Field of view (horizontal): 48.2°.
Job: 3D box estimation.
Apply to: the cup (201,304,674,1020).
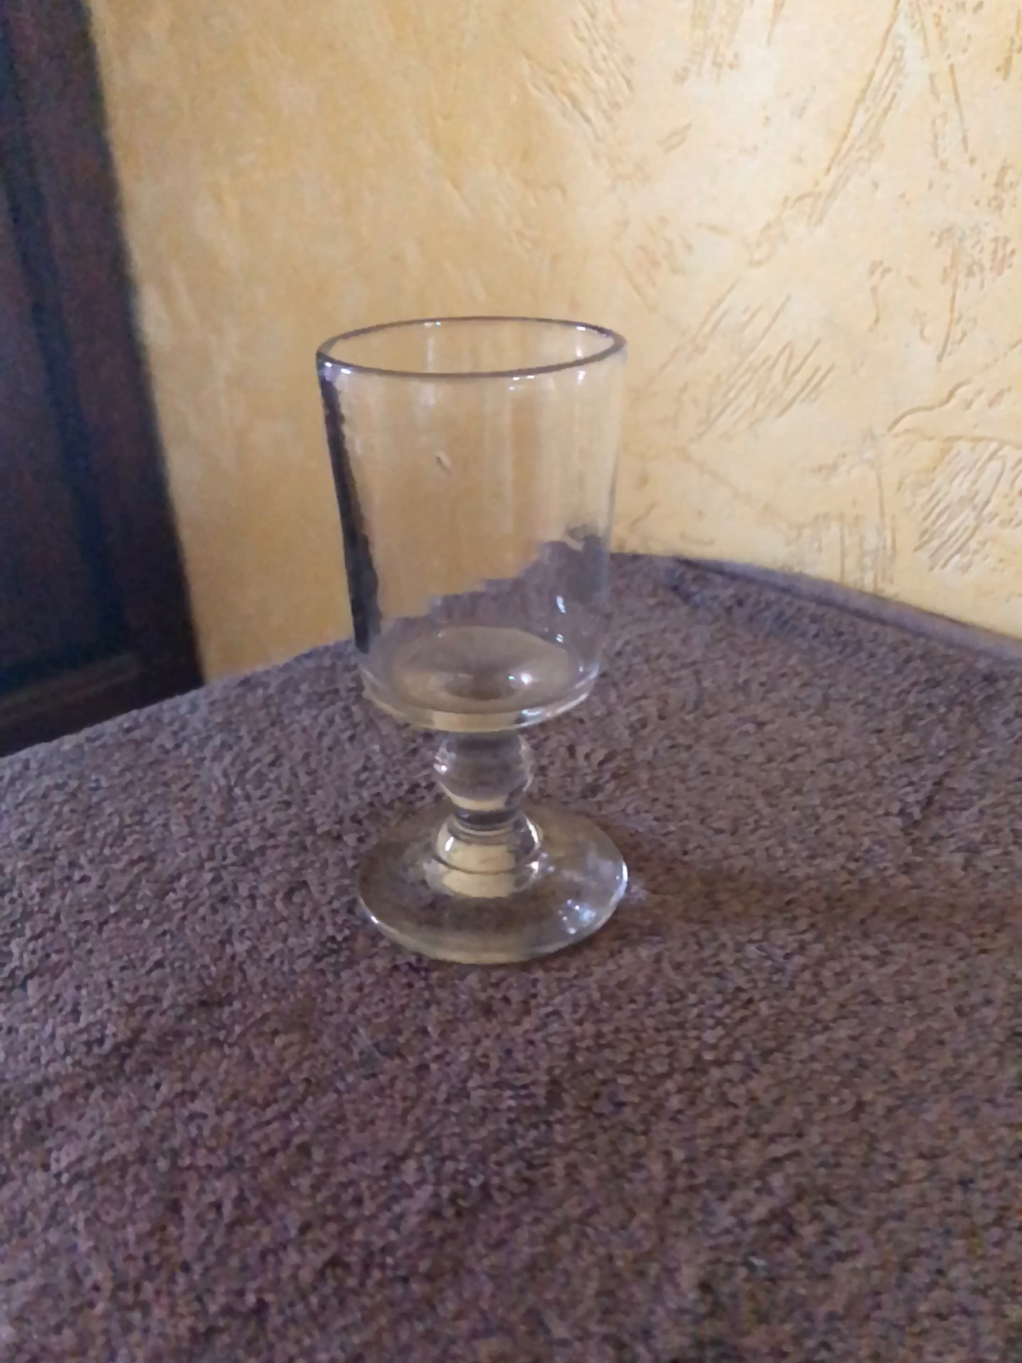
[{"bbox_3d":[-0.013,-0.007,0.215,0.060,0.109,0.060,-1,26,1],"label":"cup"}]
